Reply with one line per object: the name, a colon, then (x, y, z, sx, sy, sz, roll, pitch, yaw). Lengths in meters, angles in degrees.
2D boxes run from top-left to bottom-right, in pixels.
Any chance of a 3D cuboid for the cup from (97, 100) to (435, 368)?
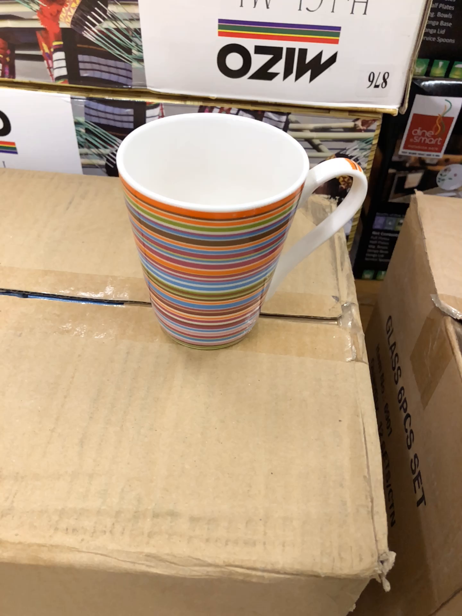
cup: (0.008, -0.040, 0.254, 0.130, 0.089, 0.080, -7, 45, -12)
